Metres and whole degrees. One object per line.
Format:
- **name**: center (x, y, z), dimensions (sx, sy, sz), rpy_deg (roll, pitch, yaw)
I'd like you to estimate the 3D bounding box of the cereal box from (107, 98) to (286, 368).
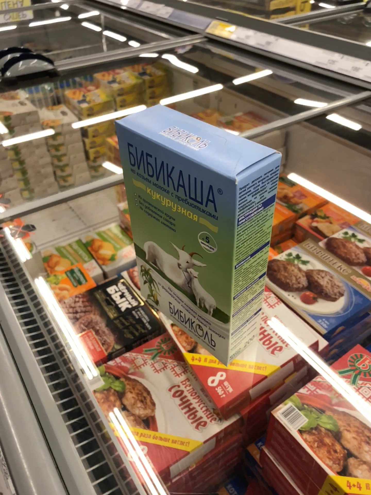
- **cereal box**: center (0.006, -0.010, 0.367), dimensions (0.050, 0.199, 0.140), rpy_deg (-31, 47, -30)
